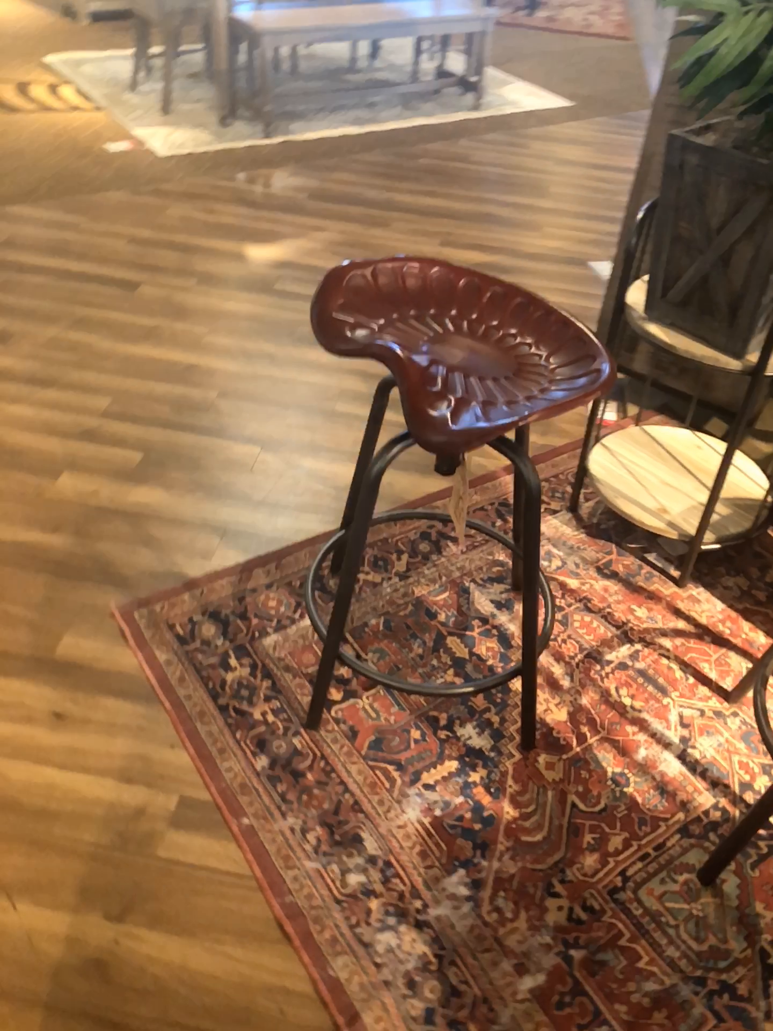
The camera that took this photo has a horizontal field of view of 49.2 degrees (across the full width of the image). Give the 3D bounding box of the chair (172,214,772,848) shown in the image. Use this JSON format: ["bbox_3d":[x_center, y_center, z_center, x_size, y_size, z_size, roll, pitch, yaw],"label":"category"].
[{"bbox_3d":[0.101,-0.019,1.348,0.612,0.627,0.568,-25,49,-31],"label":"chair"}]

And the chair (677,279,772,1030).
[{"bbox_3d":[0.813,0.219,1.065,0.610,0.736,0.539,17,42,14],"label":"chair"}]
